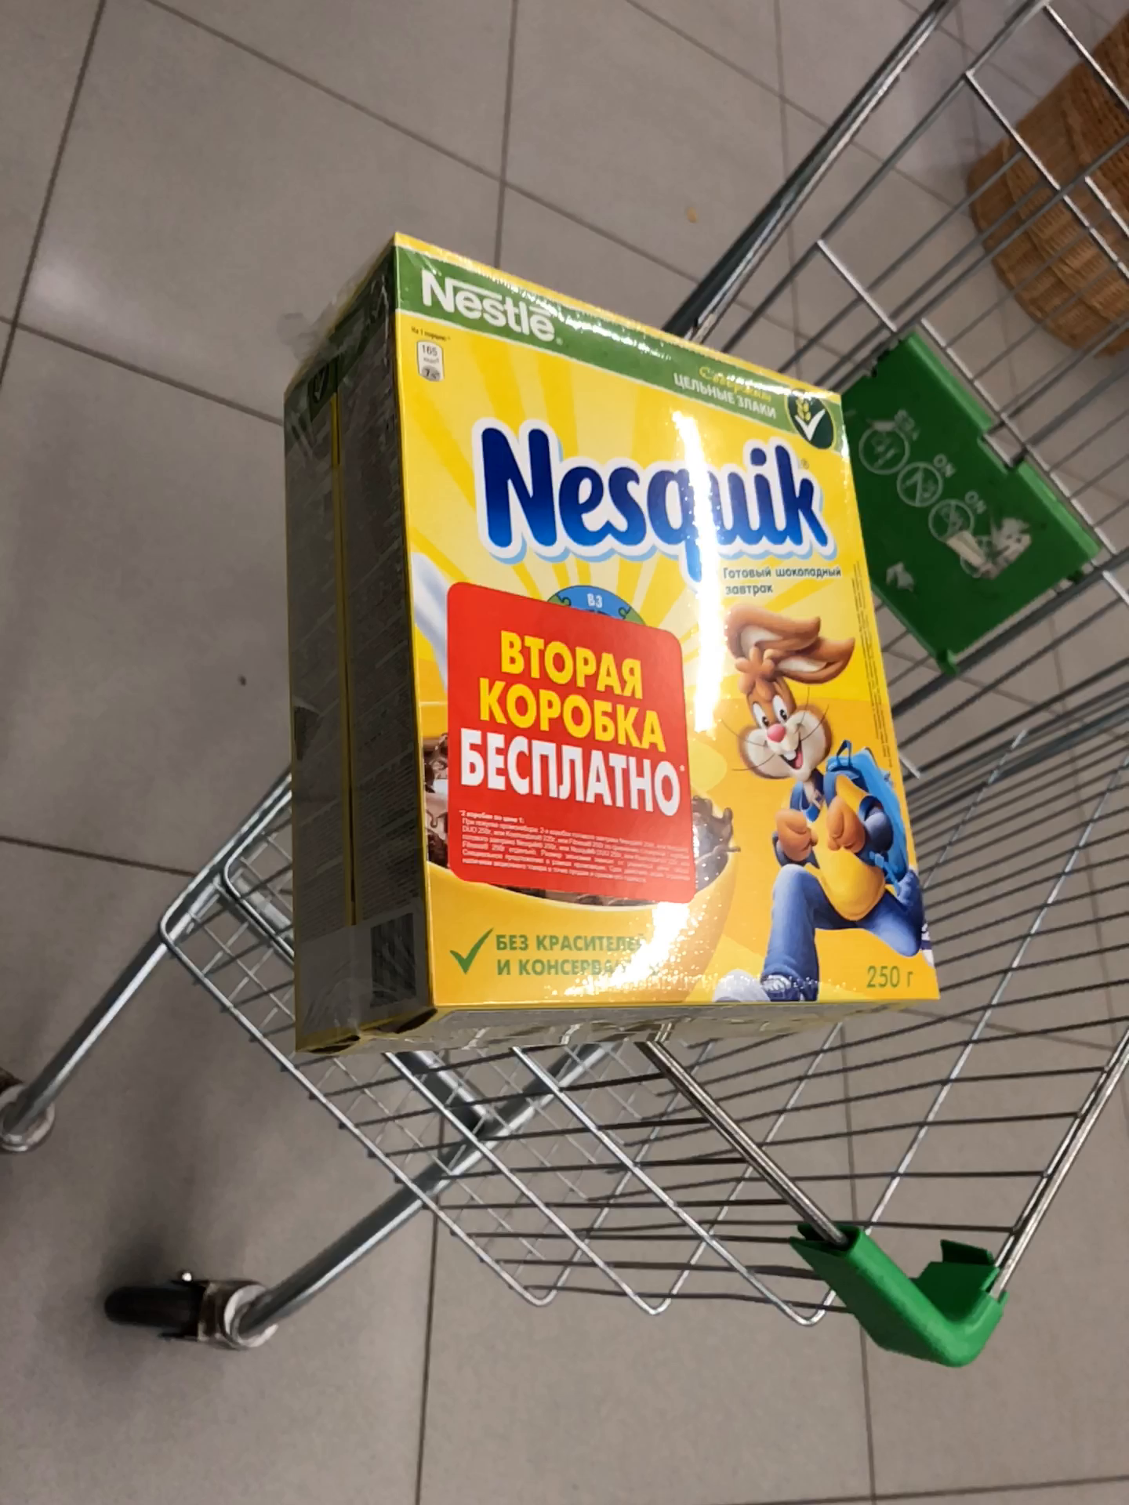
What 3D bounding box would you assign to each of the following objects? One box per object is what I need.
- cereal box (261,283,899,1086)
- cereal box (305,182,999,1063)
[{"bbox_3d":[0.006,-0.015,0.434,0.211,0.050,0.240,7,68,-35],"label":"cereal box"},{"bbox_3d":[0.029,-0.031,0.398,0.211,0.050,0.240,7,68,-35],"label":"cereal box"}]
